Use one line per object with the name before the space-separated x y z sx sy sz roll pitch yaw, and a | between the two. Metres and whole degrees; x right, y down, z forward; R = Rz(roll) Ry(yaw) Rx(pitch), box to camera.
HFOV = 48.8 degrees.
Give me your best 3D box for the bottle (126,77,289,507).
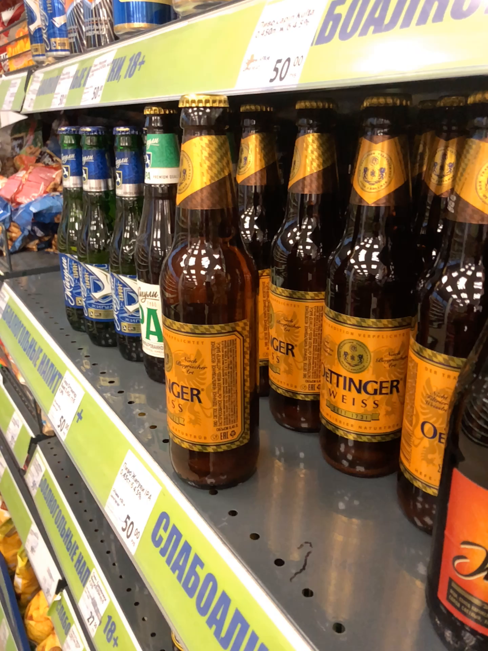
bottle | -0.019 -0.018 0.334 0.070 0.243 0.072 -2 21 1
